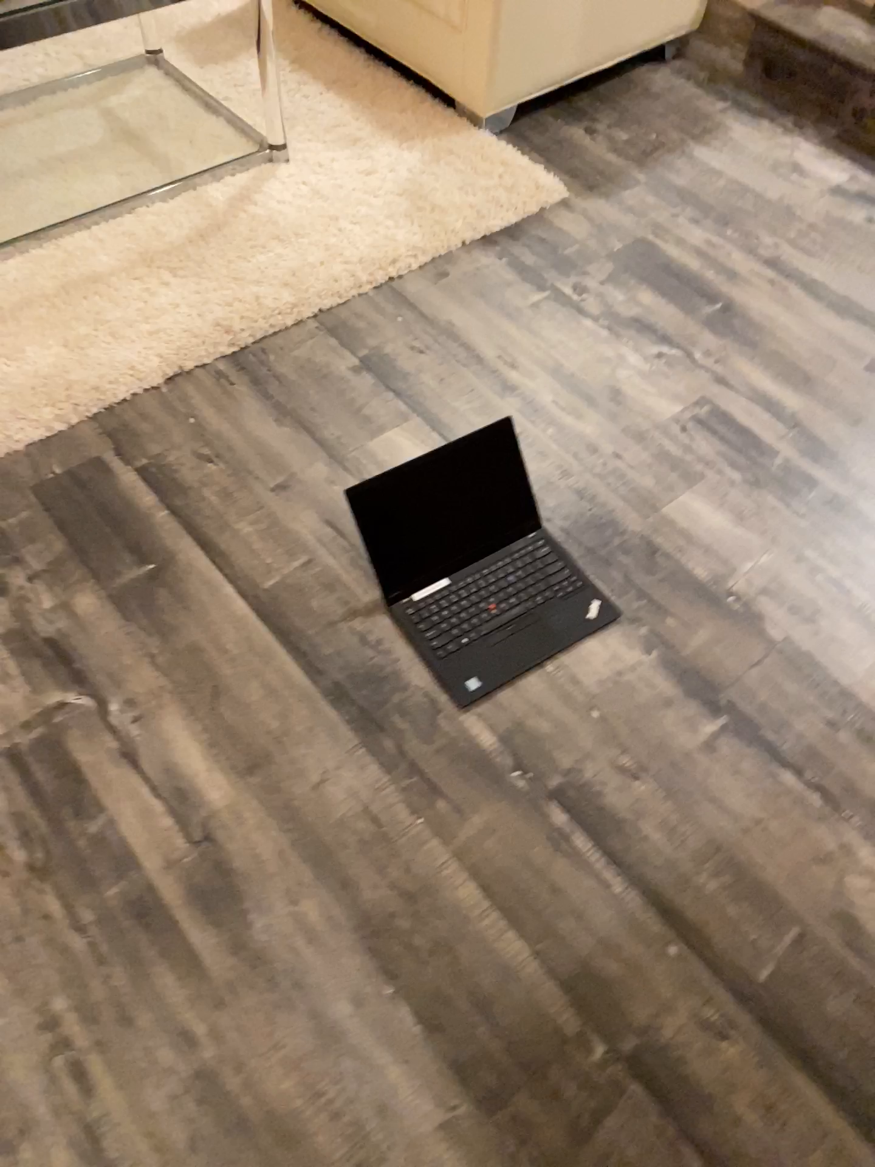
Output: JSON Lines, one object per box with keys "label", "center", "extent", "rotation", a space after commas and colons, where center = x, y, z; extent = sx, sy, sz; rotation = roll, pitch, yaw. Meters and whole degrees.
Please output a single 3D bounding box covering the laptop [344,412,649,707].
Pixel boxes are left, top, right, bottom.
{"label": "laptop", "center": [0.084, -0.051, 1.426], "extent": [0.319, 0.149, 0.356], "rotation": [-27, 63, -22]}
